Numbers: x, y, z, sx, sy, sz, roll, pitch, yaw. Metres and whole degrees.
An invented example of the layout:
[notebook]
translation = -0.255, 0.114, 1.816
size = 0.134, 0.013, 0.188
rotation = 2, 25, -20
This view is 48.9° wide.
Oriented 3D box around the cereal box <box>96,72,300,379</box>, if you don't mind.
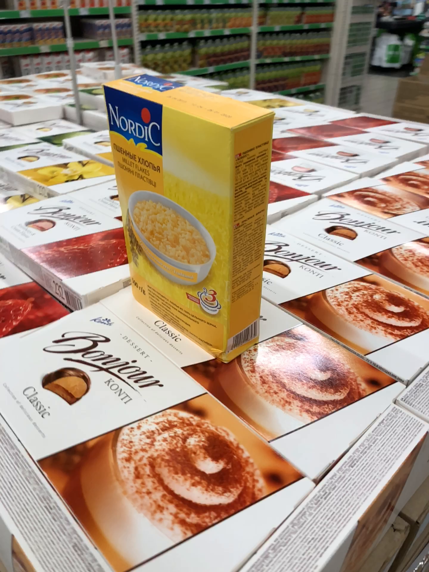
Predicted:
[cereal box]
translation = -0.016, -0.049, 0.406
size = 0.161, 0.218, 0.050
rotation = 31, 48, 34
